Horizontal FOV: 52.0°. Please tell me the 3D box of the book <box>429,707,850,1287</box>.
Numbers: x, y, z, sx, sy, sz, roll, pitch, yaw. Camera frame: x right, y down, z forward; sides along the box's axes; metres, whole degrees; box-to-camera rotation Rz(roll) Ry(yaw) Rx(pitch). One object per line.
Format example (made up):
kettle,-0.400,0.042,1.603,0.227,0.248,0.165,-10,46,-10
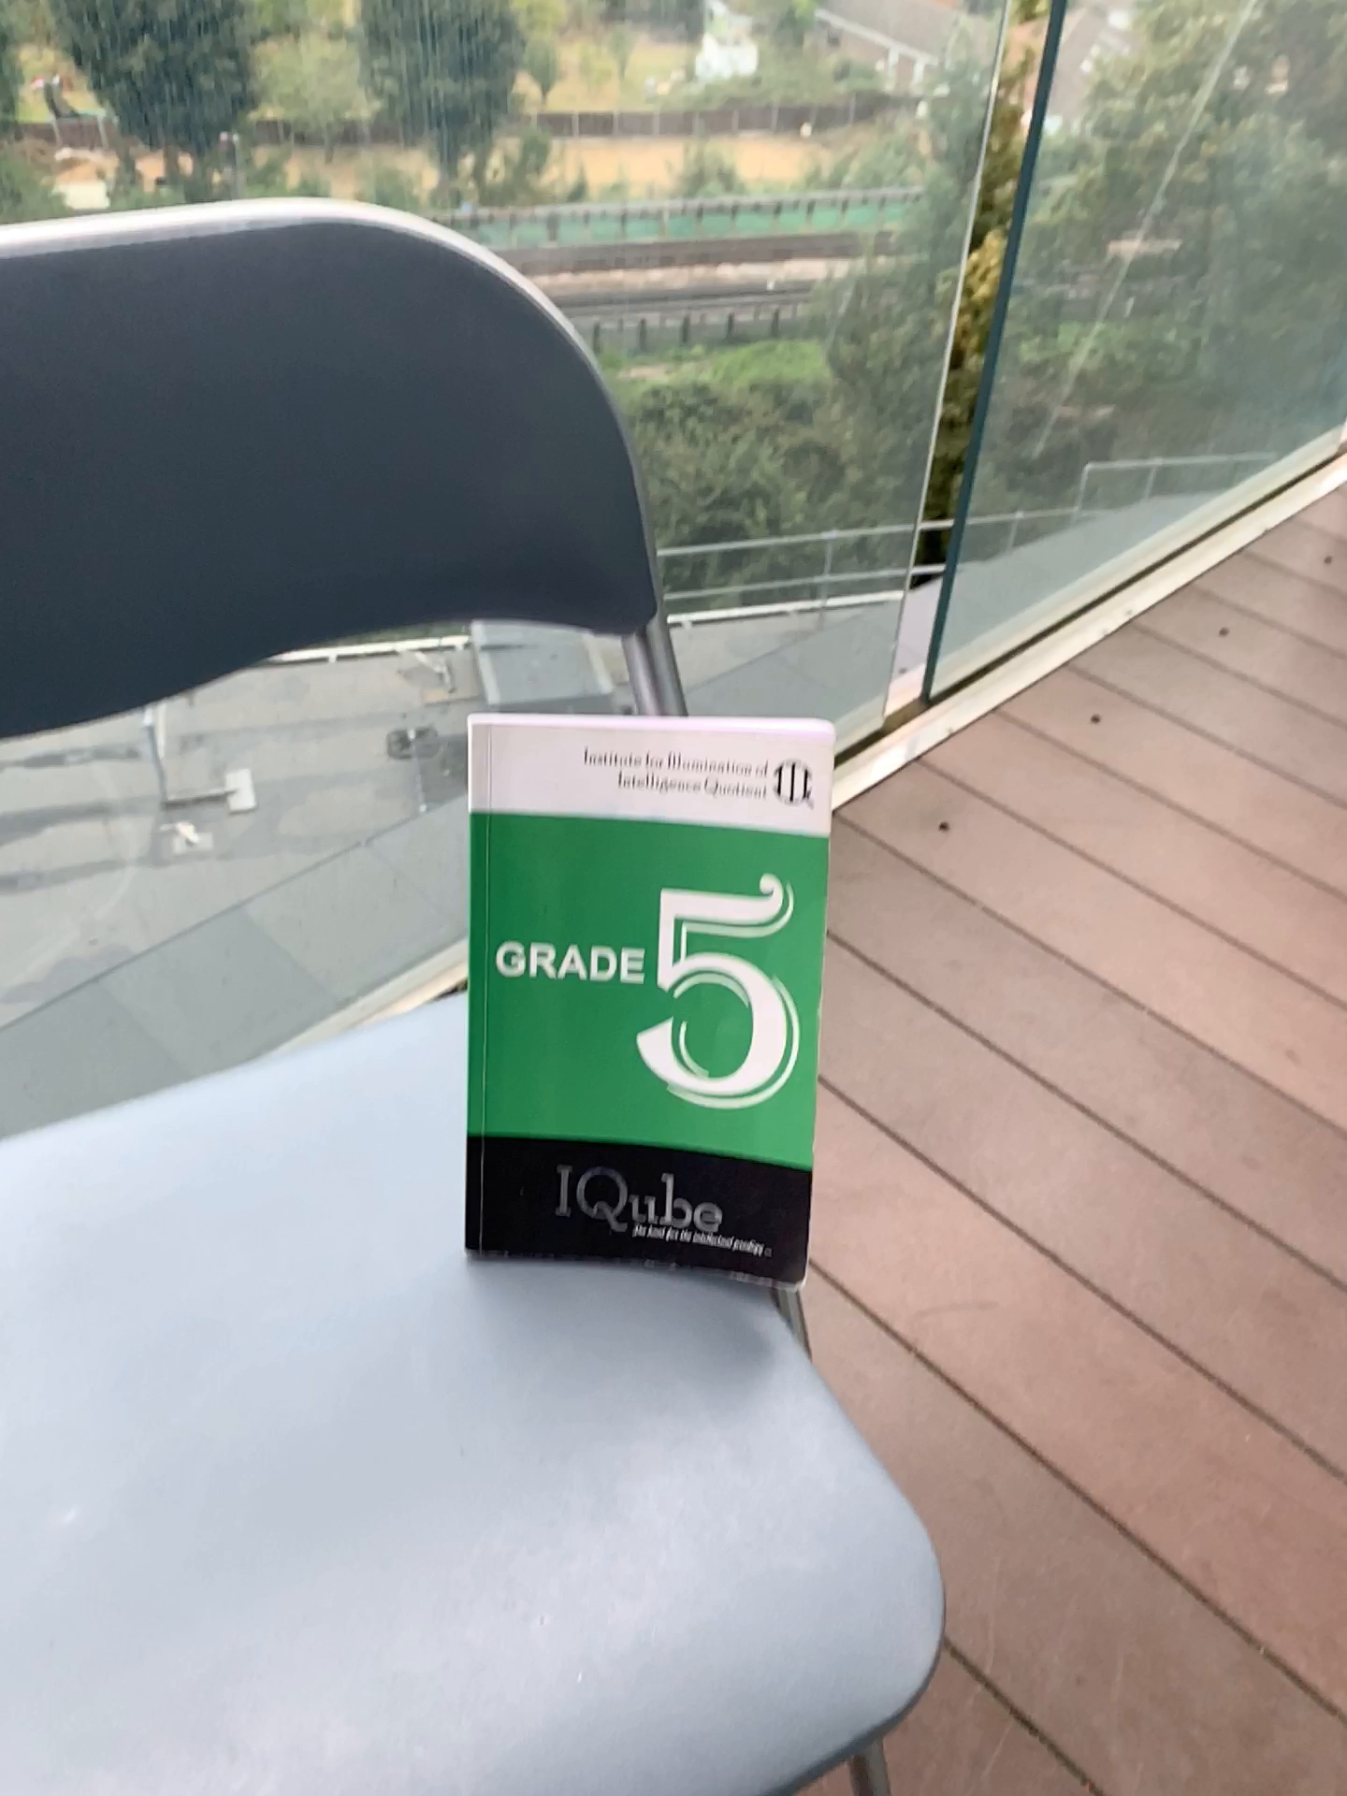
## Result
book,-0.014,0.036,0.526,0.150,0.209,0.040,2,10,5
